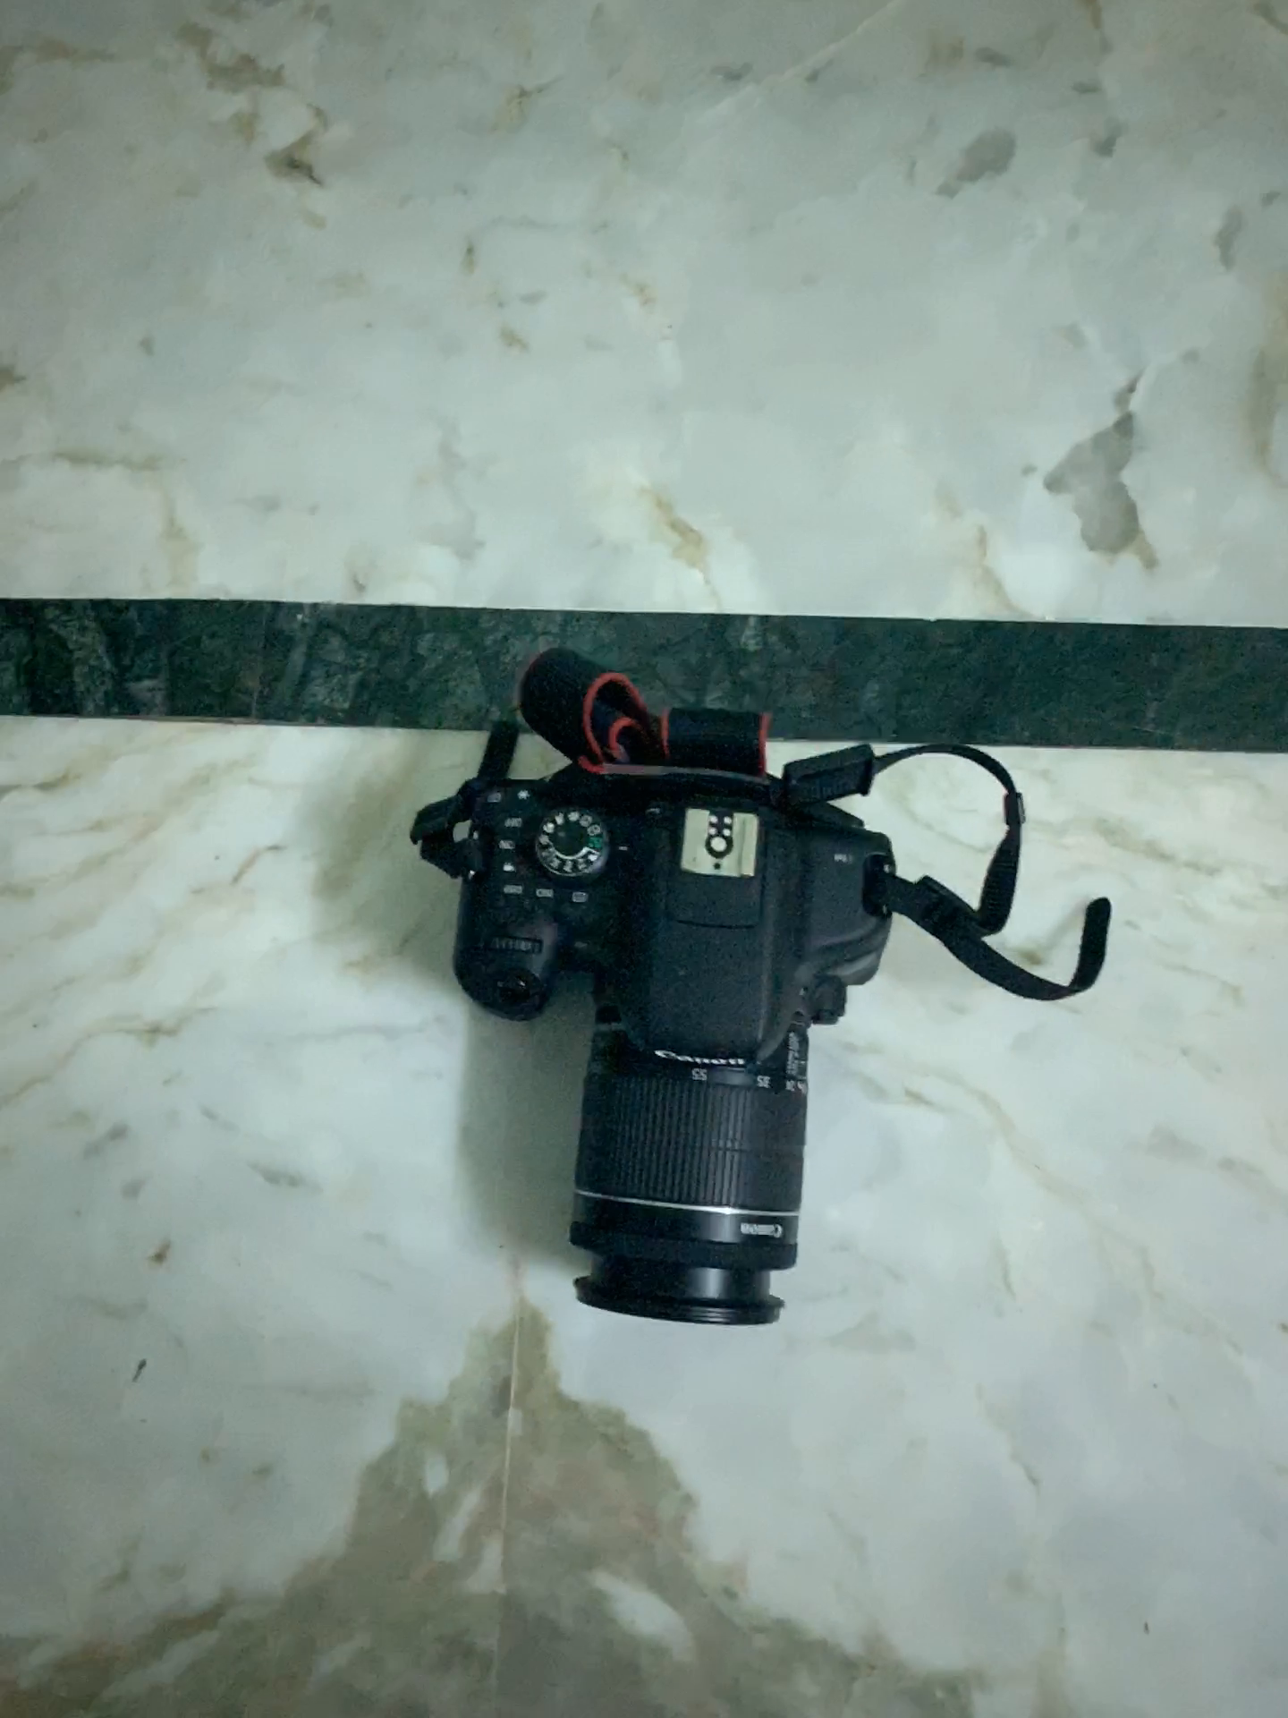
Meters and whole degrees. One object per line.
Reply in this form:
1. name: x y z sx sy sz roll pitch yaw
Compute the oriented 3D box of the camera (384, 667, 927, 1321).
1. camera: 0.008 0.041 0.386 0.128 0.100 0.160 3 75 3
